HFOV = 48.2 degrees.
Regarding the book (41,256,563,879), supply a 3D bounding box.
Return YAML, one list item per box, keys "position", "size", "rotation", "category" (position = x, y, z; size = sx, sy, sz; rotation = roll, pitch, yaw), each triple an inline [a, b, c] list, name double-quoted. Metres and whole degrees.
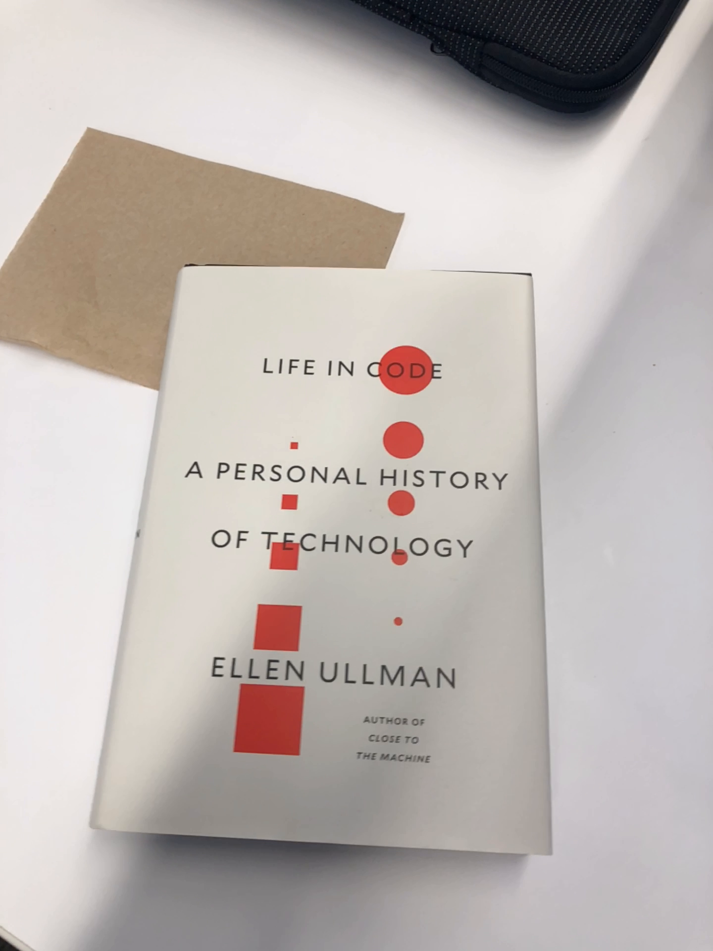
- position: [-0.010, 0.020, 0.298]
  size: [0.160, 0.030, 0.220]
  rotation: [3, 68, 3]
  category: "book"
